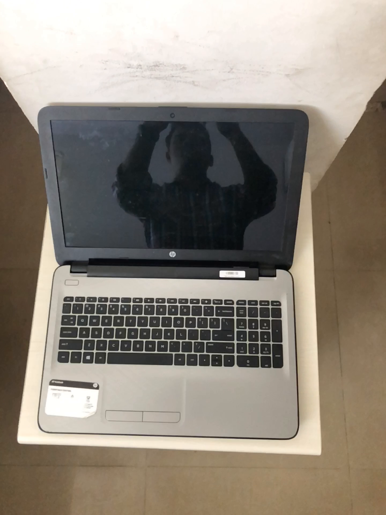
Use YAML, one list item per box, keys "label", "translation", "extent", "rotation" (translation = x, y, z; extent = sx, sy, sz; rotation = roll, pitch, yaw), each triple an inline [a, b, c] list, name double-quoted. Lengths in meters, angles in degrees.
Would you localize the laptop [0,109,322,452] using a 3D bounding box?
- label: "laptop"
  translation: [-0.031, 0.025, 0.591]
  extent: [0.361, 0.137, 0.425]
  rotation: [1, 76, 1]
